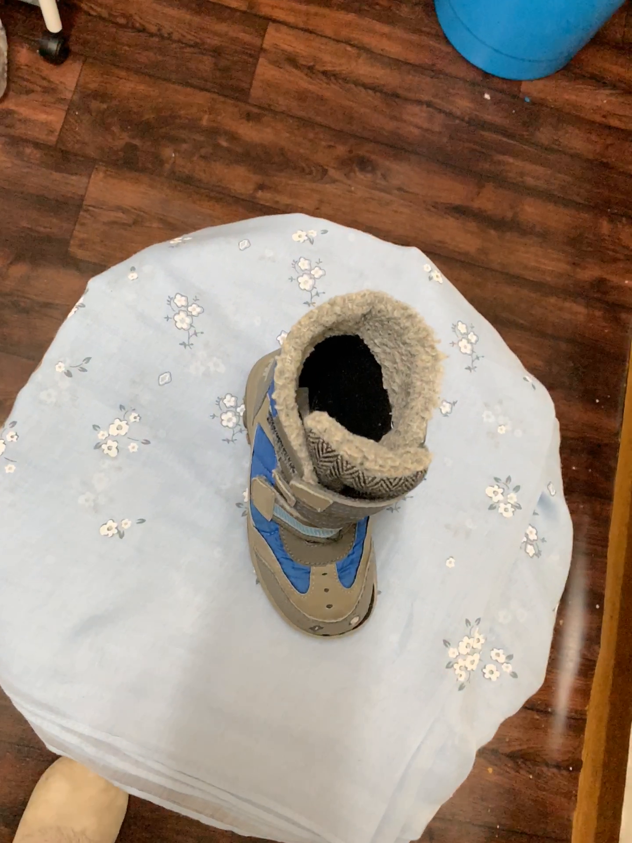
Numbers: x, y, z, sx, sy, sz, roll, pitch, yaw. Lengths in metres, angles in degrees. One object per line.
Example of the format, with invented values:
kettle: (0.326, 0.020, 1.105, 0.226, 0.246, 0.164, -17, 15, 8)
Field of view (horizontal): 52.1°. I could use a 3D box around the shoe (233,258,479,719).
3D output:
shoe: (0.006, 0.035, 0.368, 0.090, 0.160, 0.200, -3, 80, -9)
